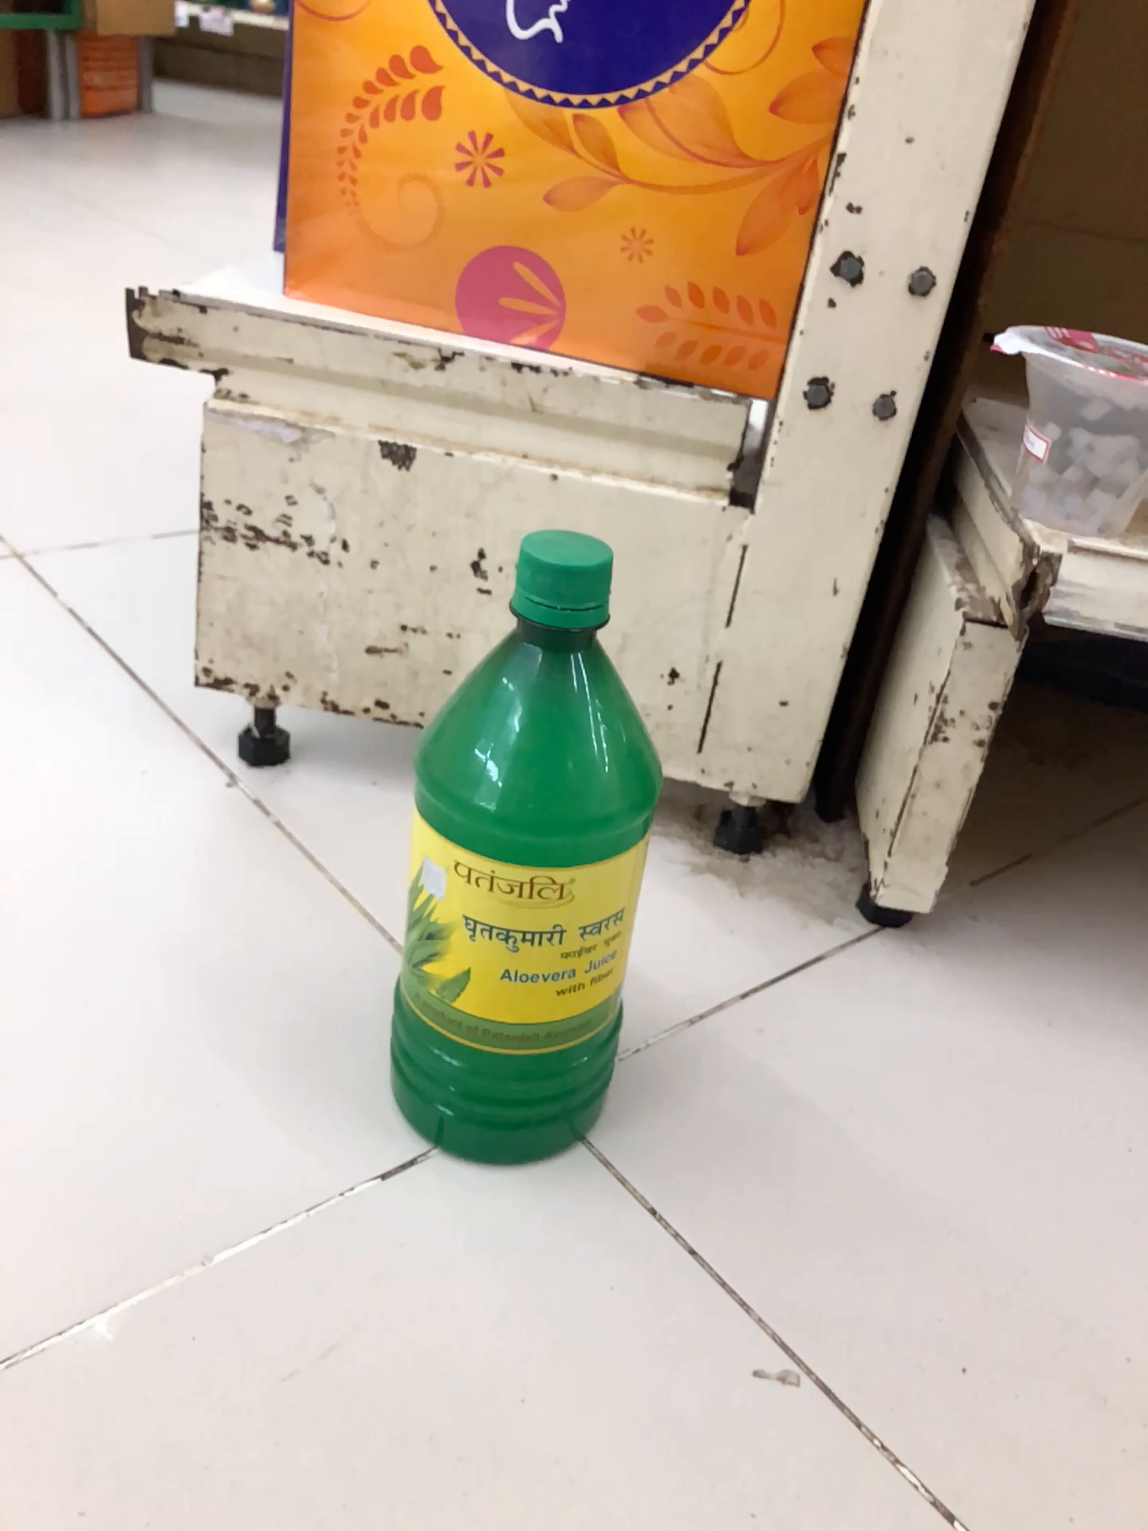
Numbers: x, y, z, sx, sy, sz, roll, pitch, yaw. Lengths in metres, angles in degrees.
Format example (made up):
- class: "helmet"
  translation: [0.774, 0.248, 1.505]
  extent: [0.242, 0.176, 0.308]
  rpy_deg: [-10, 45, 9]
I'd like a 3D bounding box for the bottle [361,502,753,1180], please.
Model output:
- class: "bottle"
  translation: [-0.019, 0.029, 0.461]
  extent: [0.100, 0.218, 0.101]
  rpy_deg: [6, 30, -3]
